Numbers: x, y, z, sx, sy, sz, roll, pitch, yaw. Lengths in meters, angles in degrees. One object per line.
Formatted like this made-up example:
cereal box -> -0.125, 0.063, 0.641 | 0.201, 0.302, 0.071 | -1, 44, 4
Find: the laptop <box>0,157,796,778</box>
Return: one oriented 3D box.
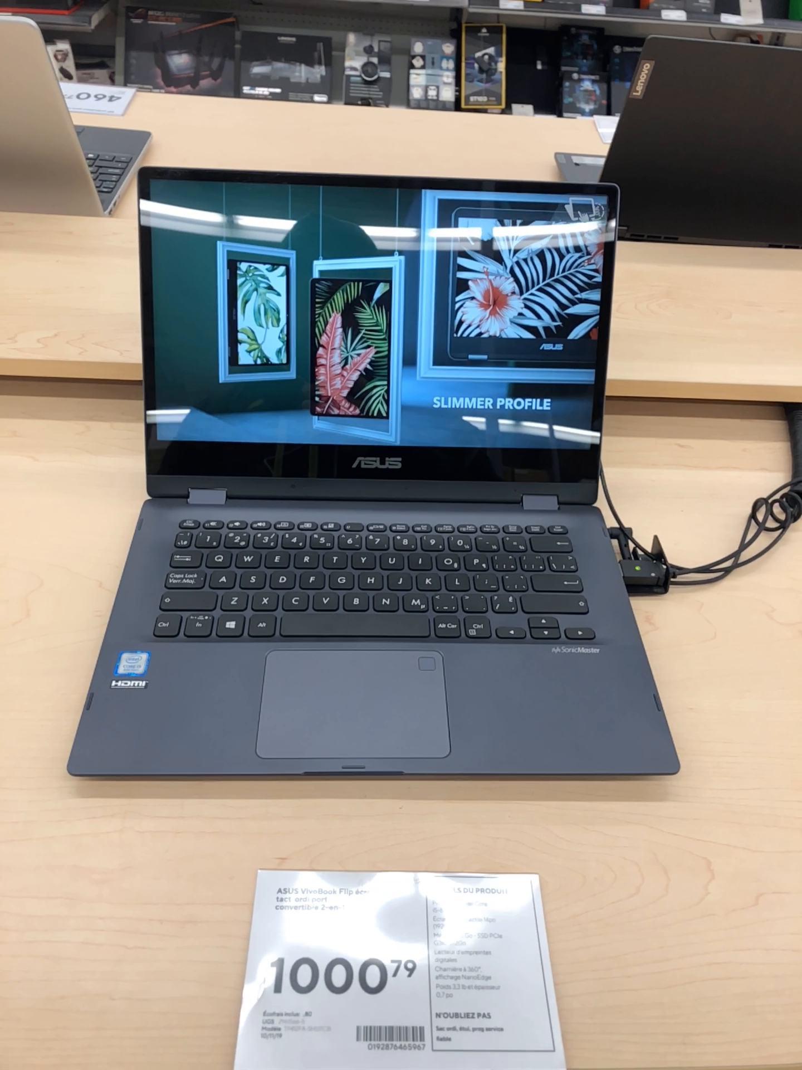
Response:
laptop -> -0.013, -0.058, 0.532 | 0.319, 0.184, 0.332 | 2, 44, -4
